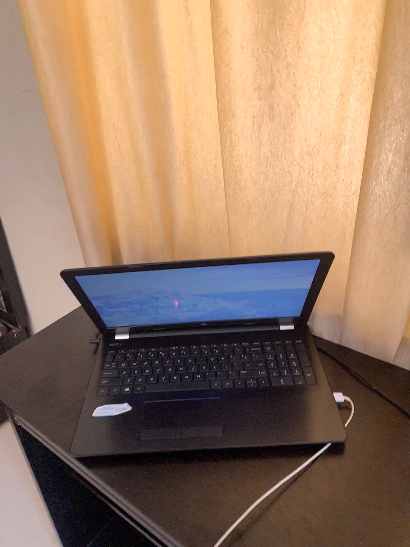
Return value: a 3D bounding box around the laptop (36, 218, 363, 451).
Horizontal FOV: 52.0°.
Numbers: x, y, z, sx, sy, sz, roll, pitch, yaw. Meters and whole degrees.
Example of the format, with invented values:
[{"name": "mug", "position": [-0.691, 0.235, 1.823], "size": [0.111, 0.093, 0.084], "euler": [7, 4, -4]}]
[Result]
[{"name": "laptop", "position": [-0.006, 0.078, 0.614], "size": [0.362, 0.201, 0.239], "euler": [-4, 31, 3]}]
